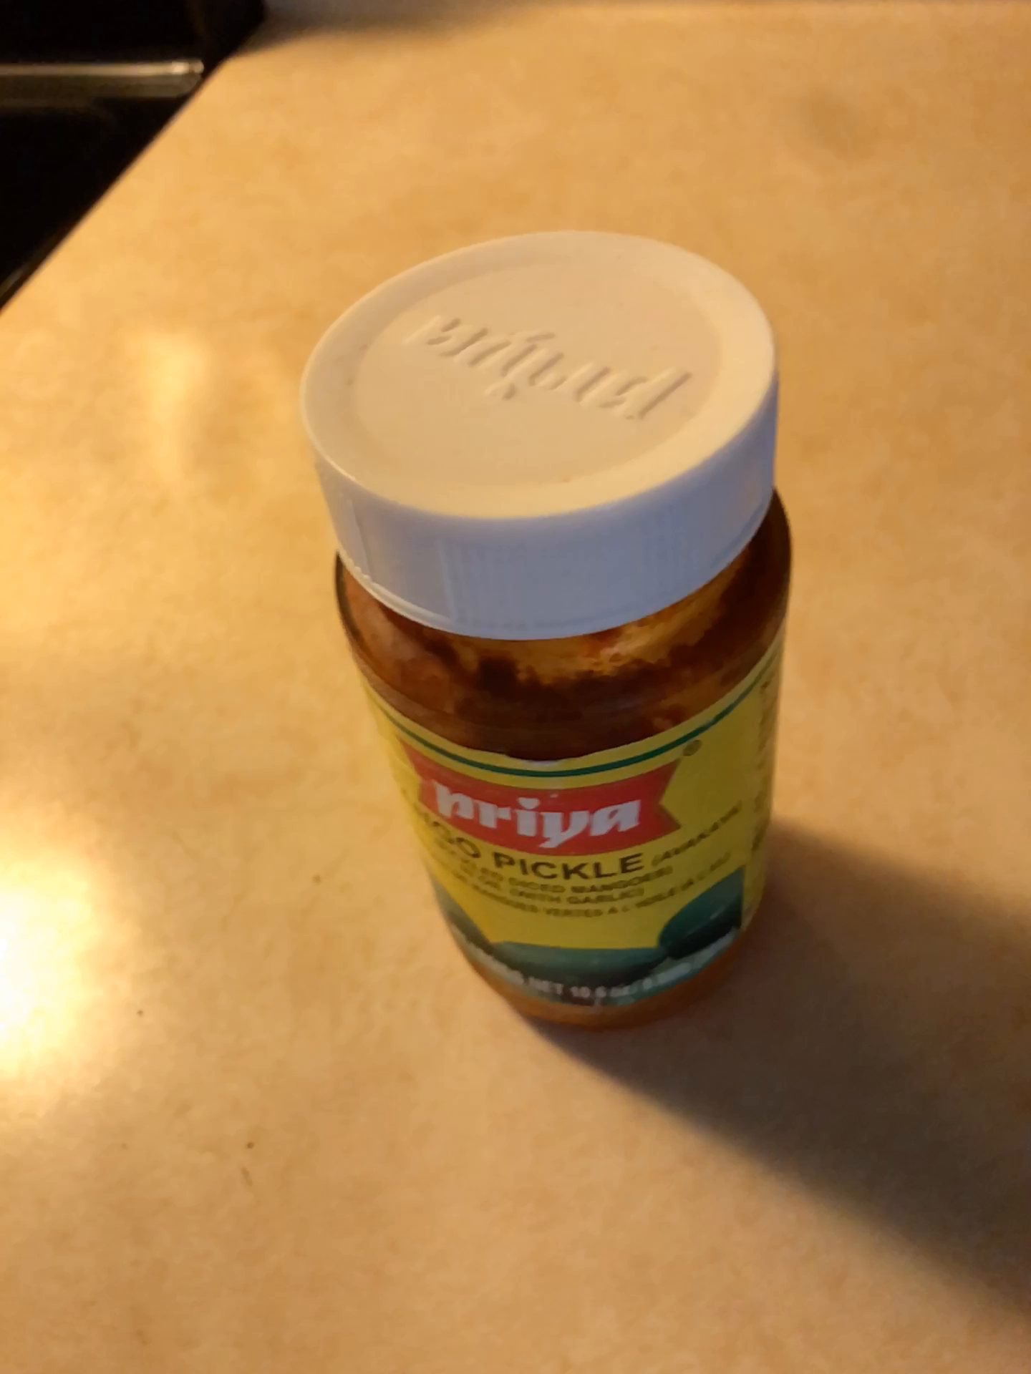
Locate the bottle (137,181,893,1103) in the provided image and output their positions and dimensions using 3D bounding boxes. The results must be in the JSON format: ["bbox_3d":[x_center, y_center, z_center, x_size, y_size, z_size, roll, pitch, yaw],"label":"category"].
[{"bbox_3d":[0.010,0.001,0.180,0.070,0.130,0.060,10,52,17],"label":"bottle"}]
